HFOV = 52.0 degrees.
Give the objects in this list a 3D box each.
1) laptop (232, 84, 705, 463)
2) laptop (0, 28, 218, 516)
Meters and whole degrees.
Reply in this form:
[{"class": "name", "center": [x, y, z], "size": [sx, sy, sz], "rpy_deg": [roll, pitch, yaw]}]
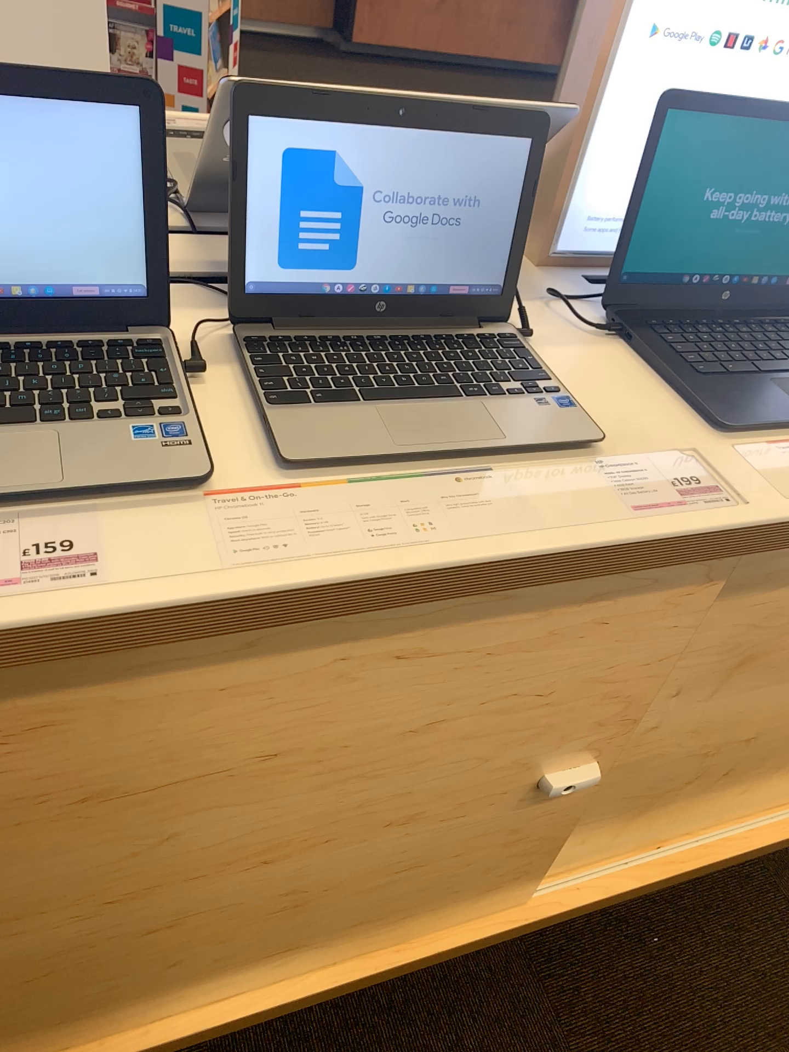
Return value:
[{"class": "laptop", "center": [0.033, -0.204, 0.646], "size": [0.278, 0.185, 0.229], "rpy_deg": [-6, 44, -20]}, {"class": "laptop", "center": [-0.281, -0.164, 0.515], "size": [0.287, 0.180, 0.222], "rpy_deg": [-6, 45, -22]}]
